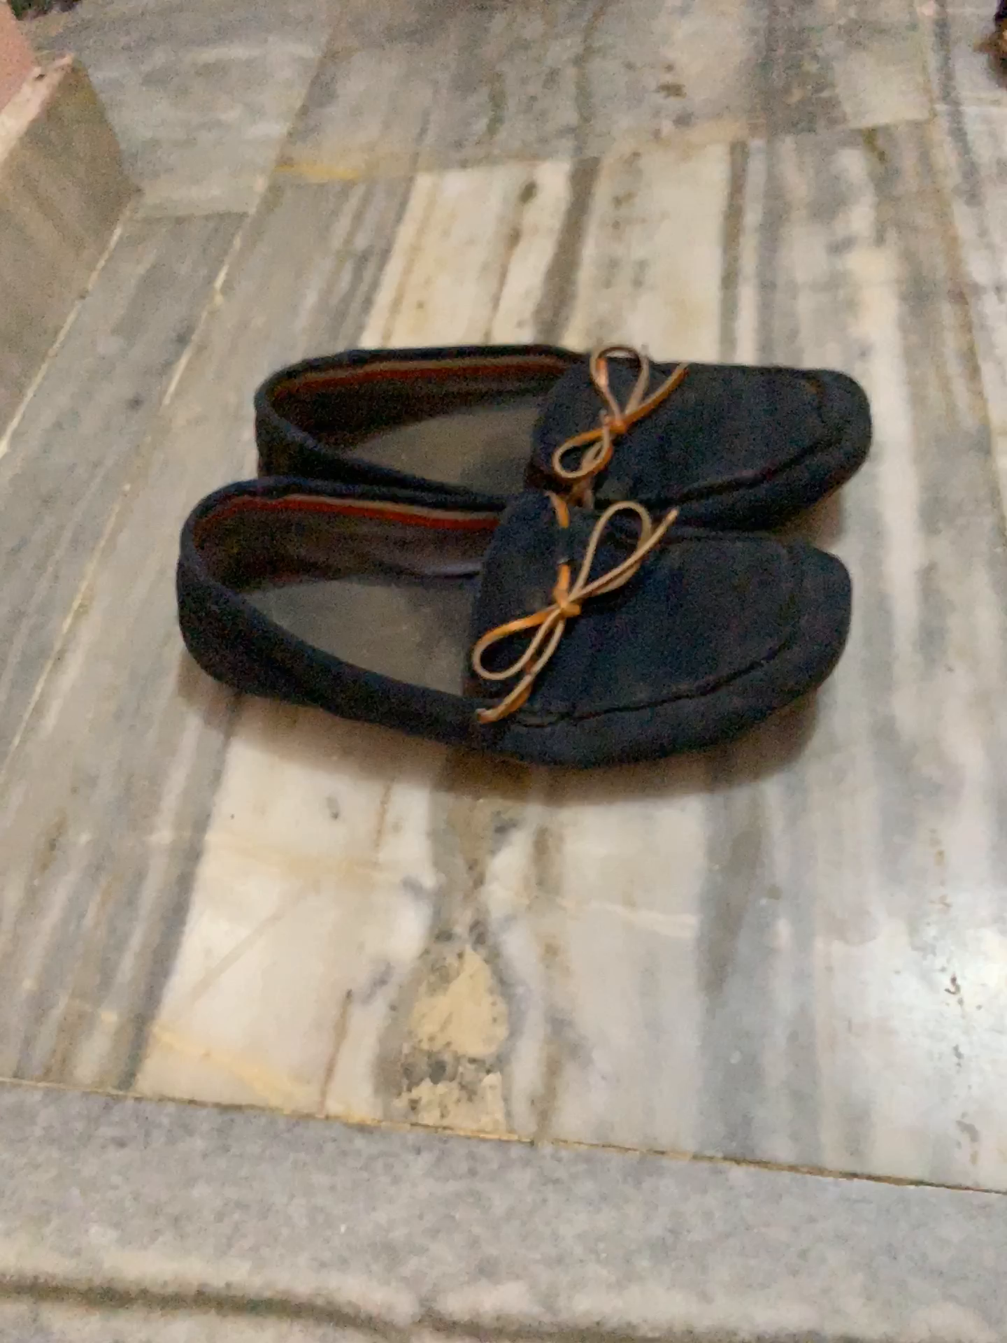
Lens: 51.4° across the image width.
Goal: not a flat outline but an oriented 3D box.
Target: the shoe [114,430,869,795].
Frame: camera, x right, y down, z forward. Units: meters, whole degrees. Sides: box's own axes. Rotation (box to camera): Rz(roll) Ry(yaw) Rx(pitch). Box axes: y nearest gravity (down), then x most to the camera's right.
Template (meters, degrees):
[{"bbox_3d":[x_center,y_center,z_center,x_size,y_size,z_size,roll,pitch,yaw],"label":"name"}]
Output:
[{"bbox_3d":[0.000,-0.032,0.435,0.281,0.070,0.120,4,56,16],"label":"shoe"}]

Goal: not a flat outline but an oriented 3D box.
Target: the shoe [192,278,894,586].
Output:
[{"bbox_3d":[0.020,-0.110,0.501,0.301,0.070,0.120,1,55,14],"label":"shoe"}]
